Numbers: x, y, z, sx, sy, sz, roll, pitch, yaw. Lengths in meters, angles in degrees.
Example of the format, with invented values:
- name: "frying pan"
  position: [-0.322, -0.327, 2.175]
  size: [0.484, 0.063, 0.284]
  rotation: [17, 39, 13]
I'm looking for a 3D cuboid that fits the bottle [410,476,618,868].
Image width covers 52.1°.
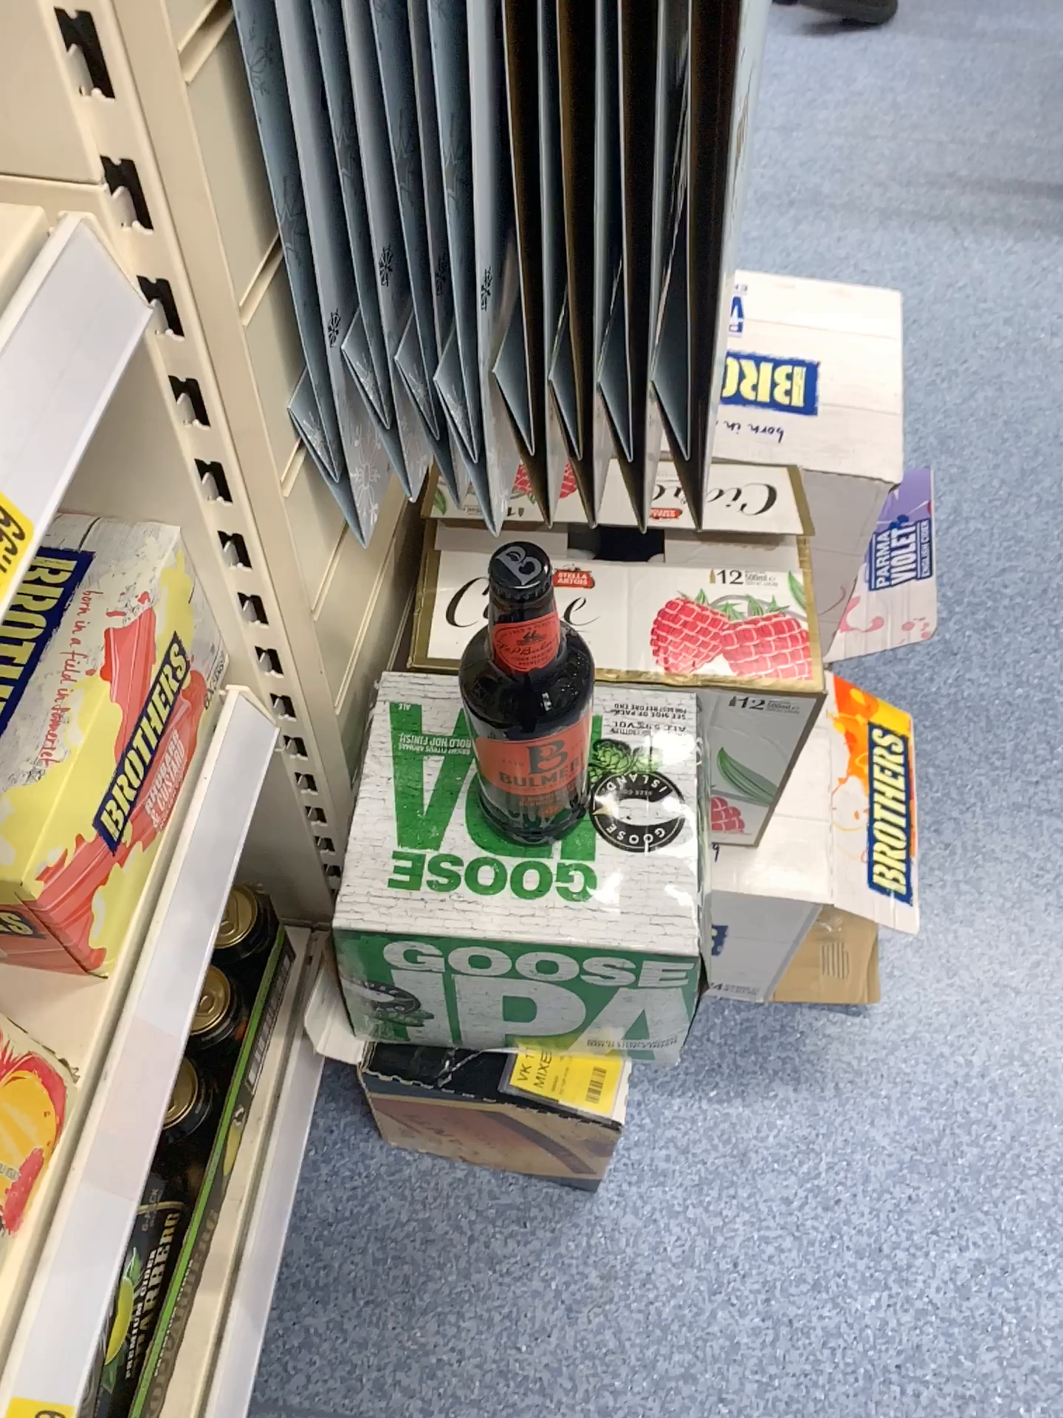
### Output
- name: "bottle"
  position: [-0.006, -0.006, 0.581]
  size: [0.070, 0.235, 0.070]
  rotation: [-1, 58, 1]
